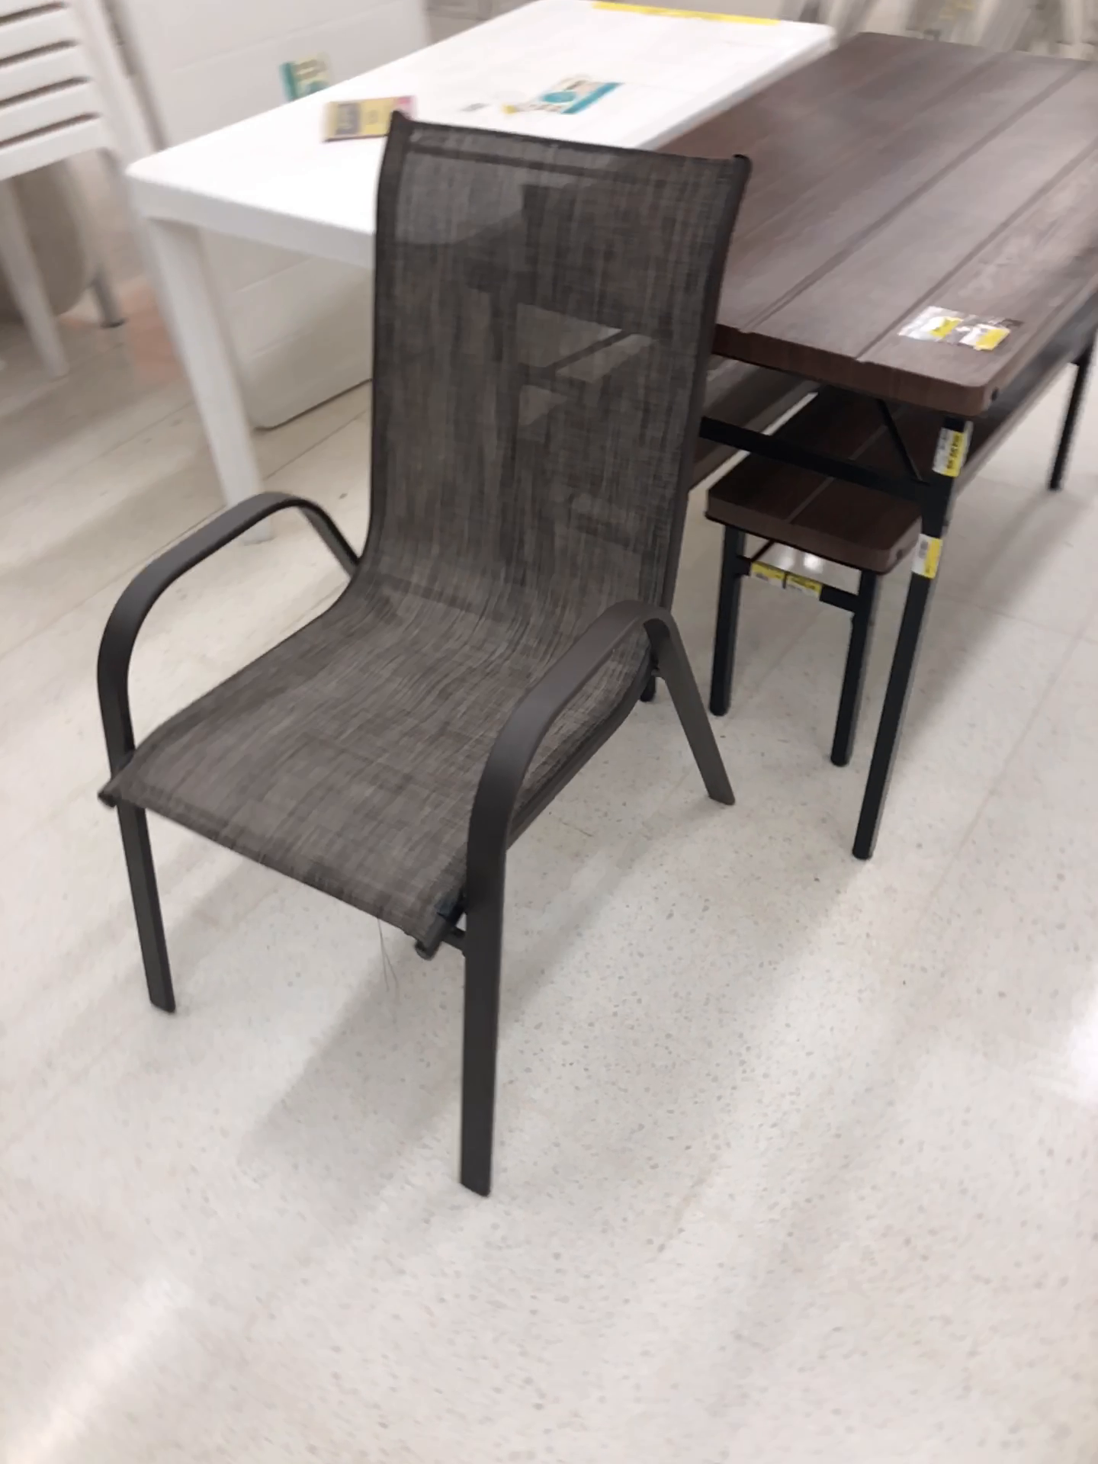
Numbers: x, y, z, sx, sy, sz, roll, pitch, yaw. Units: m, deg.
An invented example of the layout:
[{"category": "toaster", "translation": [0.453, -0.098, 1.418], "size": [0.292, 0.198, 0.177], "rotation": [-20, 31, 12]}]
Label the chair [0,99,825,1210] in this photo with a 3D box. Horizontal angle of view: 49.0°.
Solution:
[{"category": "chair", "translation": [-0.151, -0.113, 1.346], "size": [0.601, 0.853, 0.714], "rotation": [20, 48, 25]}]
